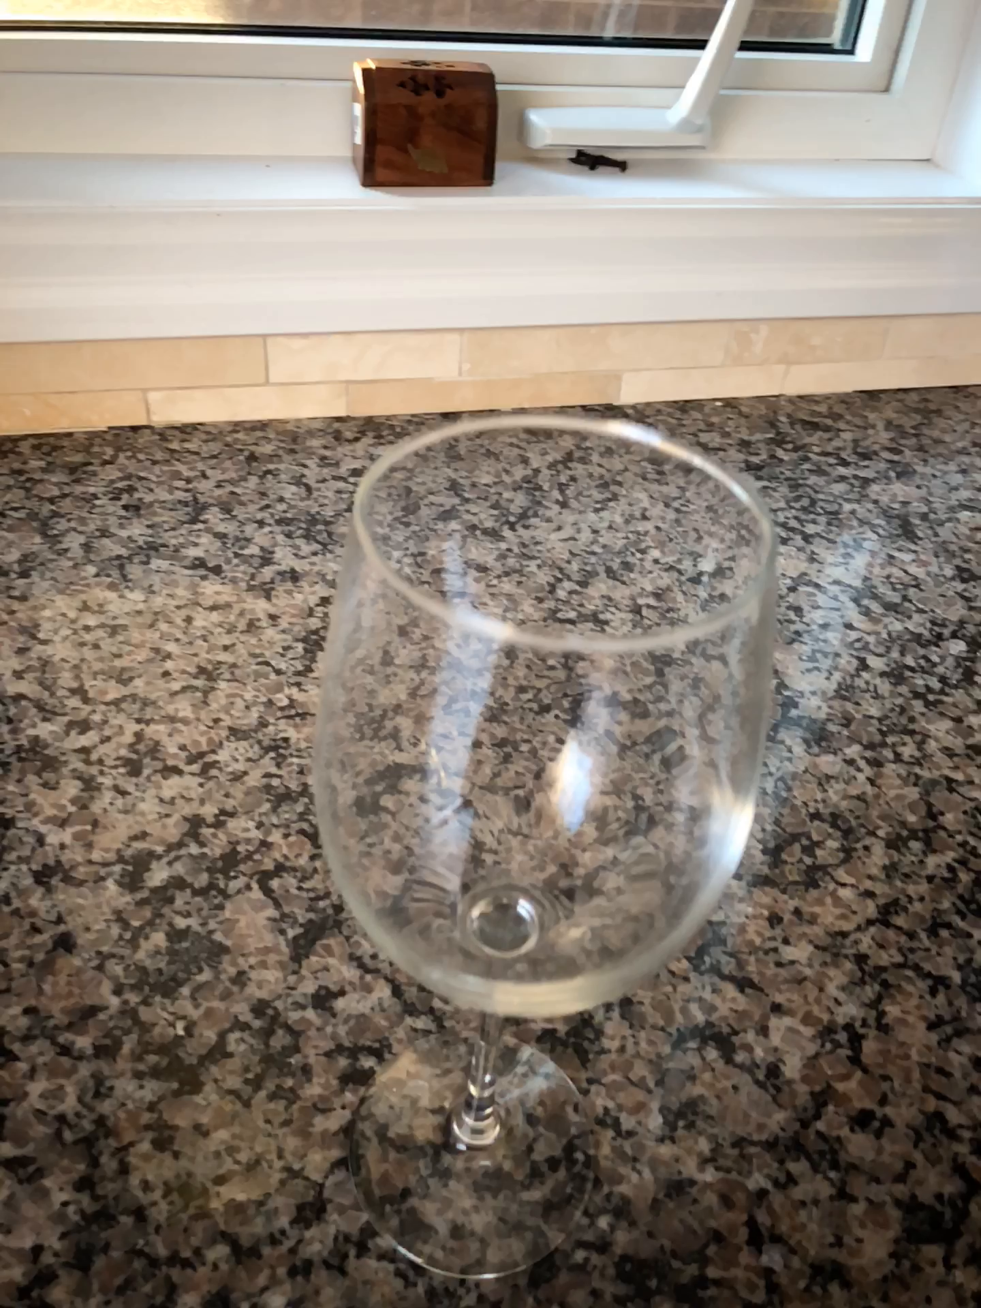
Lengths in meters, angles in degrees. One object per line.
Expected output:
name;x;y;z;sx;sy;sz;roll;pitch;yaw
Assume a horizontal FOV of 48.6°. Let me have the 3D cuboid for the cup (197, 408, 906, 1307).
cup;-0.005;0.067;0.247;0.095;0.217;0.097;3;39;-3
